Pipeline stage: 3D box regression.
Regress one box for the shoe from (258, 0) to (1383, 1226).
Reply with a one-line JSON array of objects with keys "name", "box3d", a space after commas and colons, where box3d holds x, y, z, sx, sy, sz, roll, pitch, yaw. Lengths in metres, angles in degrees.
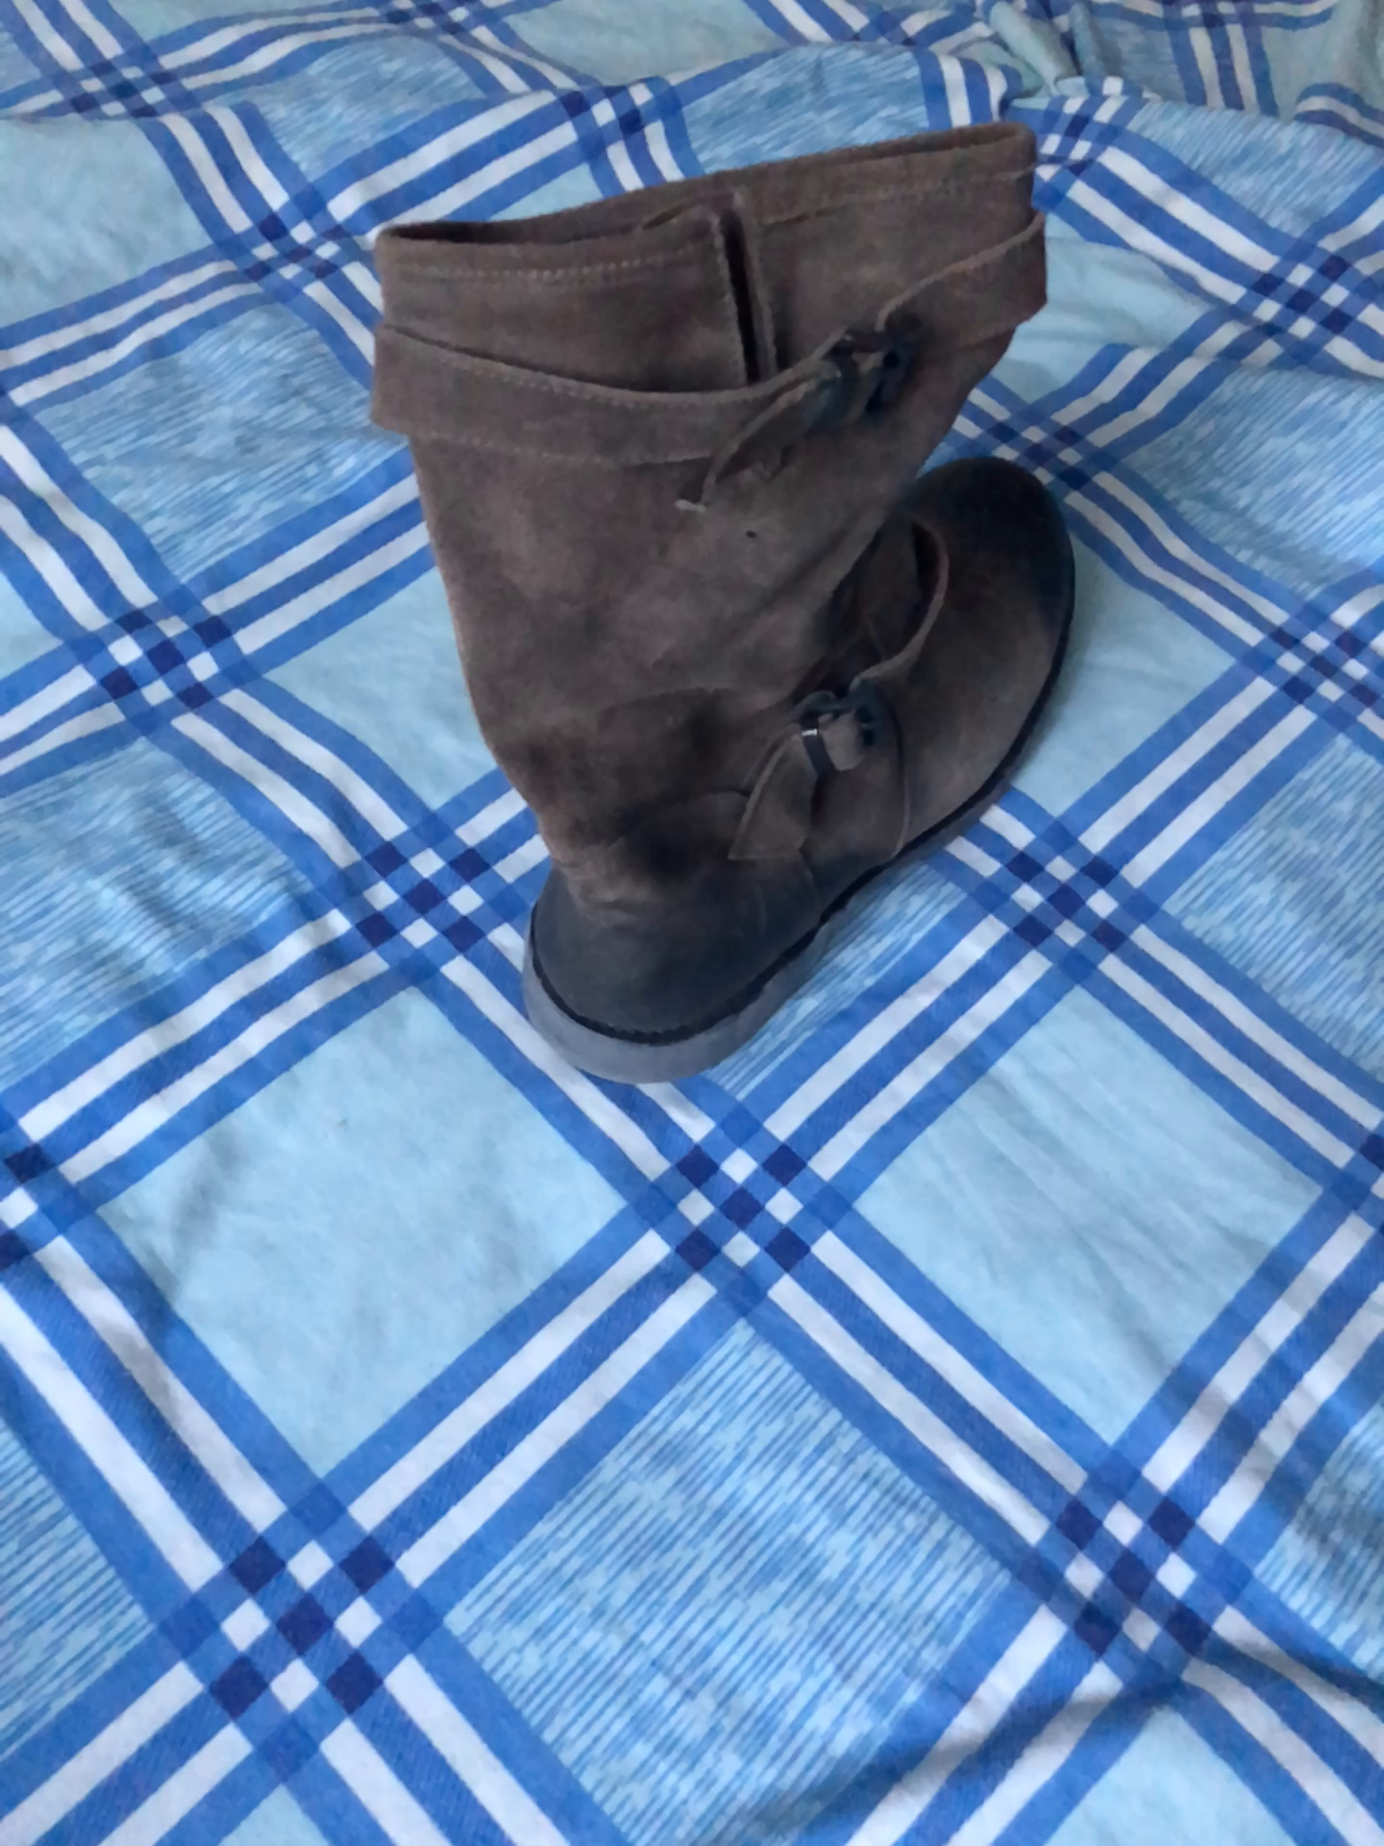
[{"name": "shoe", "box3d": [0.046, -0.112, 0.487, 0.130, 0.289, 0.321, 35, 61, 14]}]
